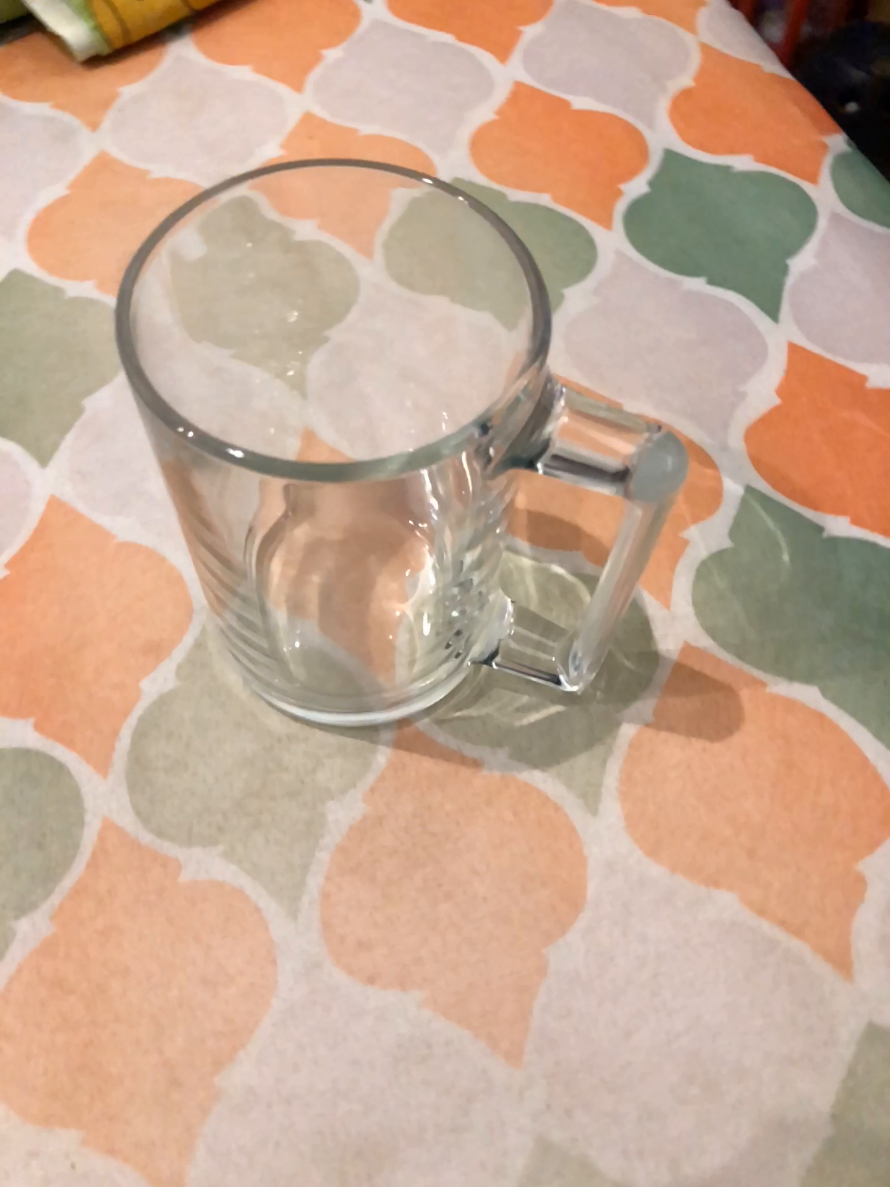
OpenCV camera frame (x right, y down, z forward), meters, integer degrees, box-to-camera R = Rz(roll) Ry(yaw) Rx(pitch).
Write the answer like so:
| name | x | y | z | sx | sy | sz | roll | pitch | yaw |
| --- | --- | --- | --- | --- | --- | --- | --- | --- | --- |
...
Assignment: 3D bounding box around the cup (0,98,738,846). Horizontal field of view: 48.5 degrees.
| name | x | y | z | sx | sy | sz | roll | pitch | yaw |
| --- | --- | --- | --- | --- | --- | --- | --- | --- | --- |
| cup | -0.016 | -0.019 | 0.202 | 0.110 | 0.100 | 0.080 | 19 | 62 | 10 |
